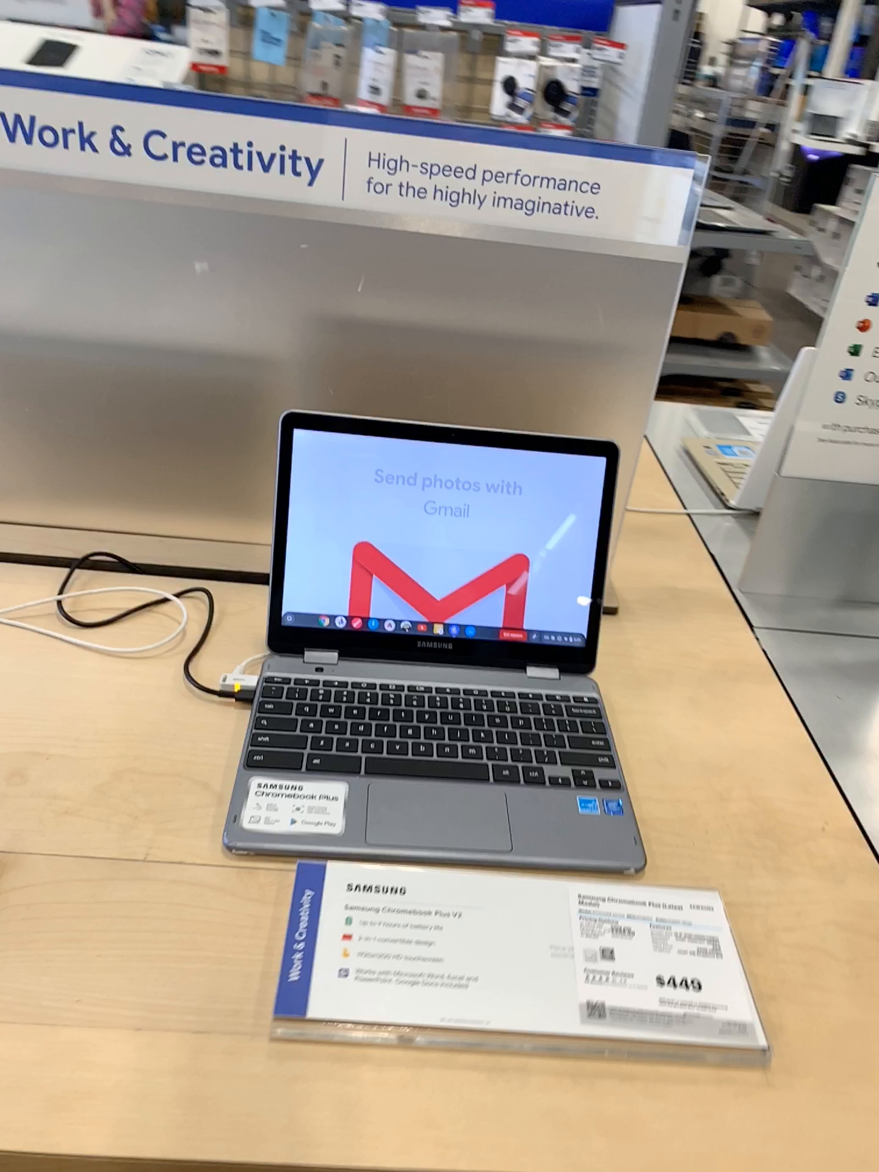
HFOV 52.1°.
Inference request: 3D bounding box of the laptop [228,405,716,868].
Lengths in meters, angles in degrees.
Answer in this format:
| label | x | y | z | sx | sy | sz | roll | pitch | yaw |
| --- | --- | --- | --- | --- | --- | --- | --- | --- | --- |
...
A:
| label | x | y | z | sx | sy | sz | roll | pitch | yaw |
| --- | --- | --- | --- | --- | --- | --- | --- | --- | --- |
| laptop | 0.008 | 0.020 | 0.666 | 0.273 | 0.181 | 0.289 | 4 | 33 | -4 |
